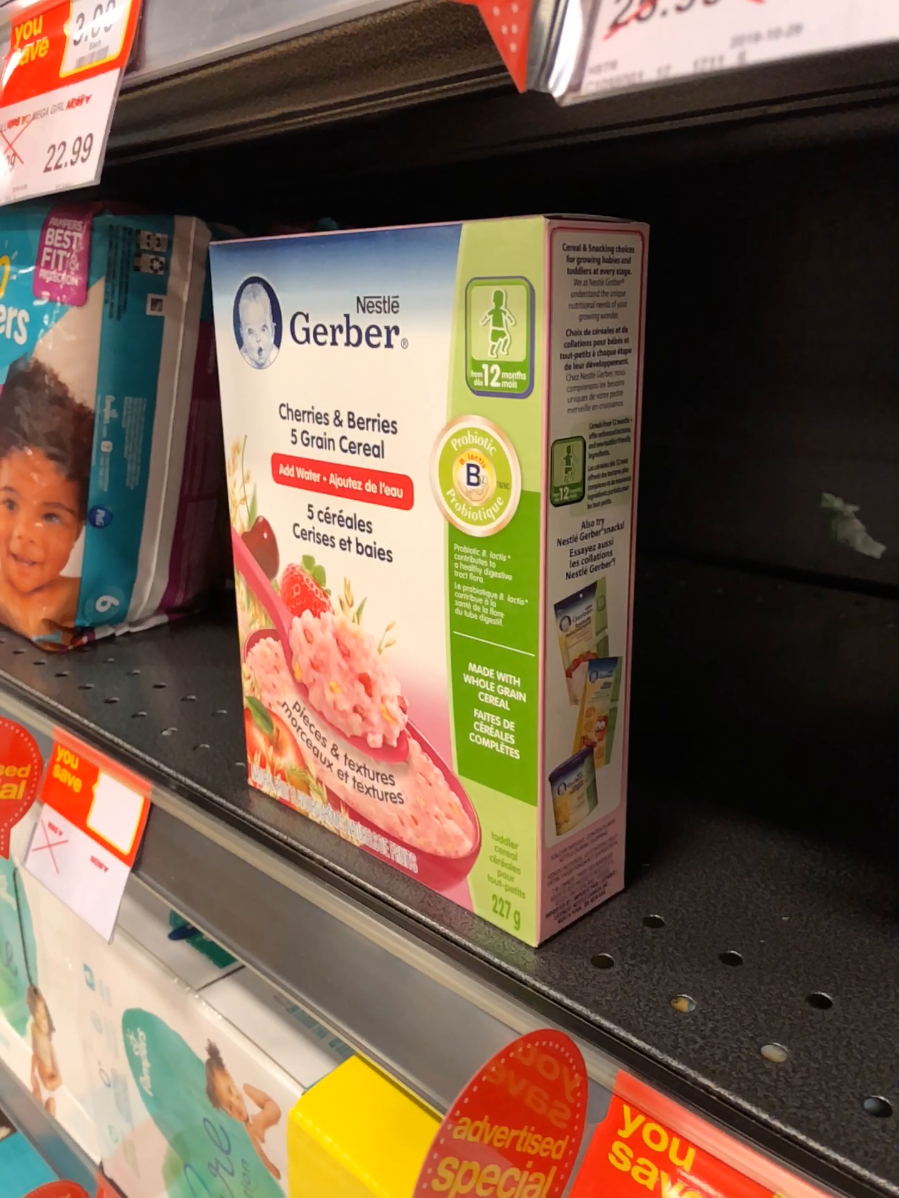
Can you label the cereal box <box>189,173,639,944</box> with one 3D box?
[{"bbox_3d":[-0.018,-0.018,0.318,0.040,0.199,0.150,-15,21,-42],"label":"cereal box"}]
